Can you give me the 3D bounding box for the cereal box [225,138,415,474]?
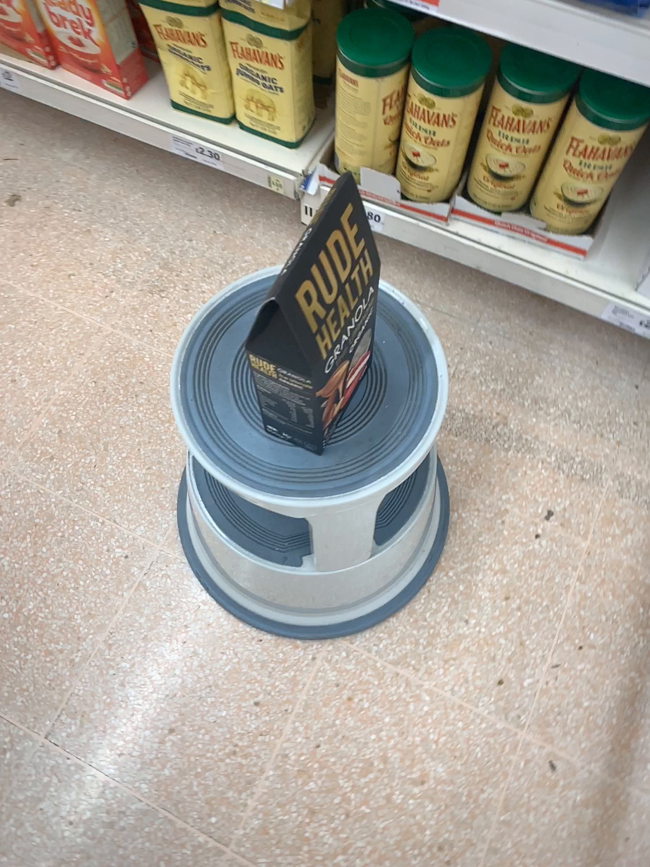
[{"bbox_3d":[-0.003,-0.084,0.552,0.070,0.259,0.141,25,68,9],"label":"cereal box"}]
